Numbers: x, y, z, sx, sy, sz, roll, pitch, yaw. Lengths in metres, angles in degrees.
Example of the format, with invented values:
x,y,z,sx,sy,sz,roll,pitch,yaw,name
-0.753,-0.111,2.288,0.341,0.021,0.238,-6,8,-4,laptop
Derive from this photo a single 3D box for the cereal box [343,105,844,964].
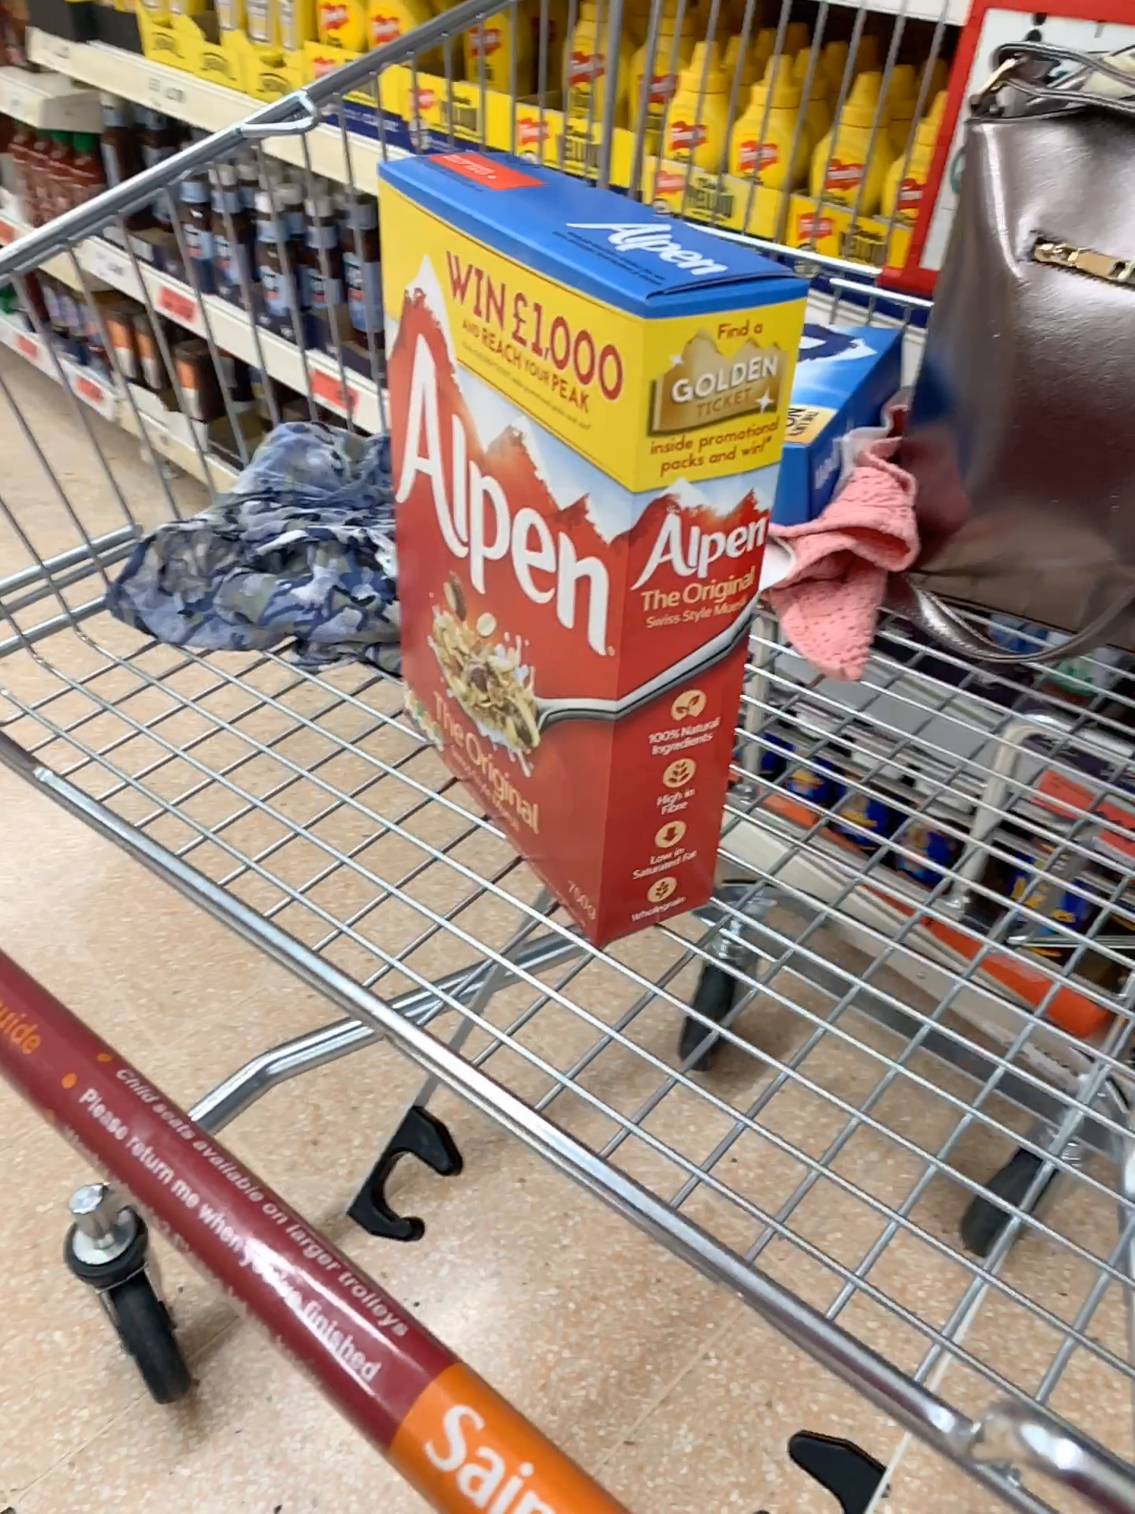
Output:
x,y,z,sx,sy,sz,roll,pitch,yaw,name
-0.006,-0.078,0.426,0.060,0.248,0.181,-21,46,-25,cereal box
